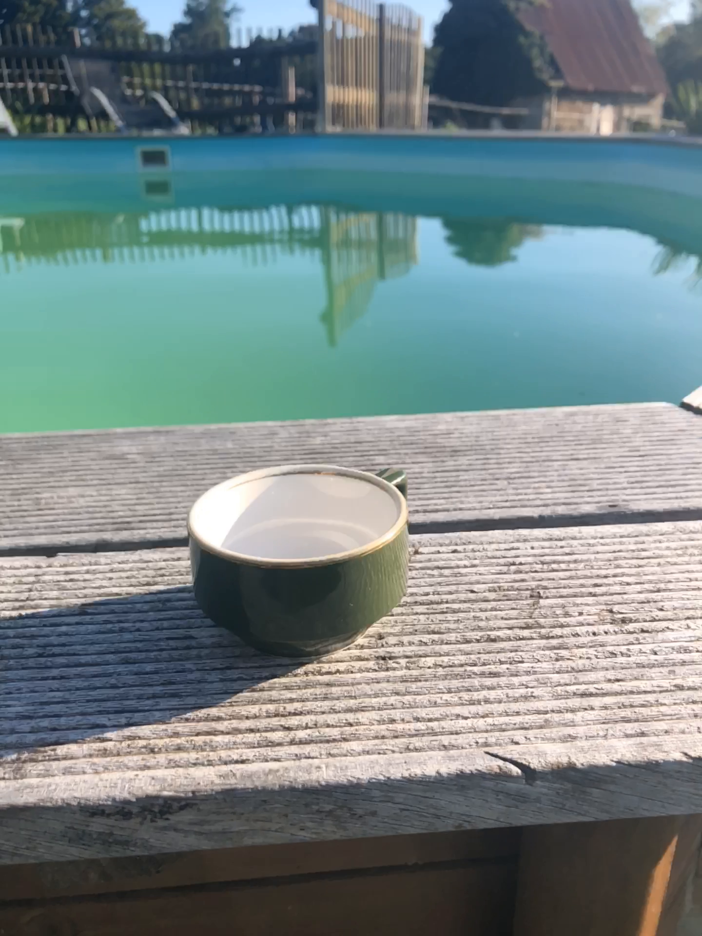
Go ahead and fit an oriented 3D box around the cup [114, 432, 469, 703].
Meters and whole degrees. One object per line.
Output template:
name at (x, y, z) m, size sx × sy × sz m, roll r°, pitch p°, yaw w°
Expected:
cup at (-0.017, 0.027, 0.281) m, size 0.083 × 0.038 × 0.096 m, roll 14°, pitch 28°, yaw 33°
